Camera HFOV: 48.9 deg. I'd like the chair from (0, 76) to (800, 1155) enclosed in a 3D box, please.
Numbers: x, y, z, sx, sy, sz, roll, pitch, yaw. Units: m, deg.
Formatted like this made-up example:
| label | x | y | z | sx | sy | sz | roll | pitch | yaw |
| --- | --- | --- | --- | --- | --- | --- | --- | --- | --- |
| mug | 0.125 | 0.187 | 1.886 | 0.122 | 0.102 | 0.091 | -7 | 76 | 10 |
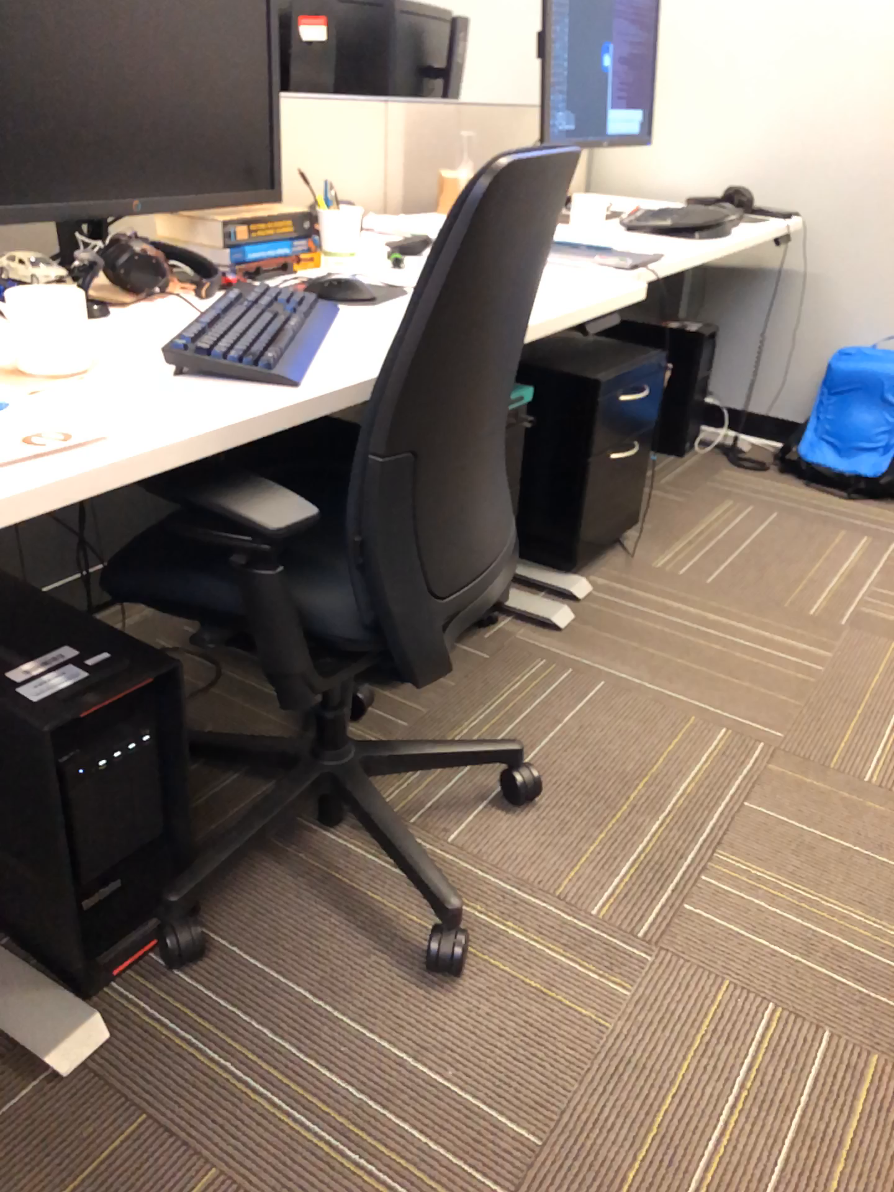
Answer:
| label | x | y | z | sx | sy | sz | roll | pitch | yaw |
| --- | --- | --- | --- | --- | --- | --- | --- | --- | --- |
| chair | -0.080 | -0.078 | 1.294 | 0.661 | 1.014 | 0.783 | 19 | 31 | 27 |
